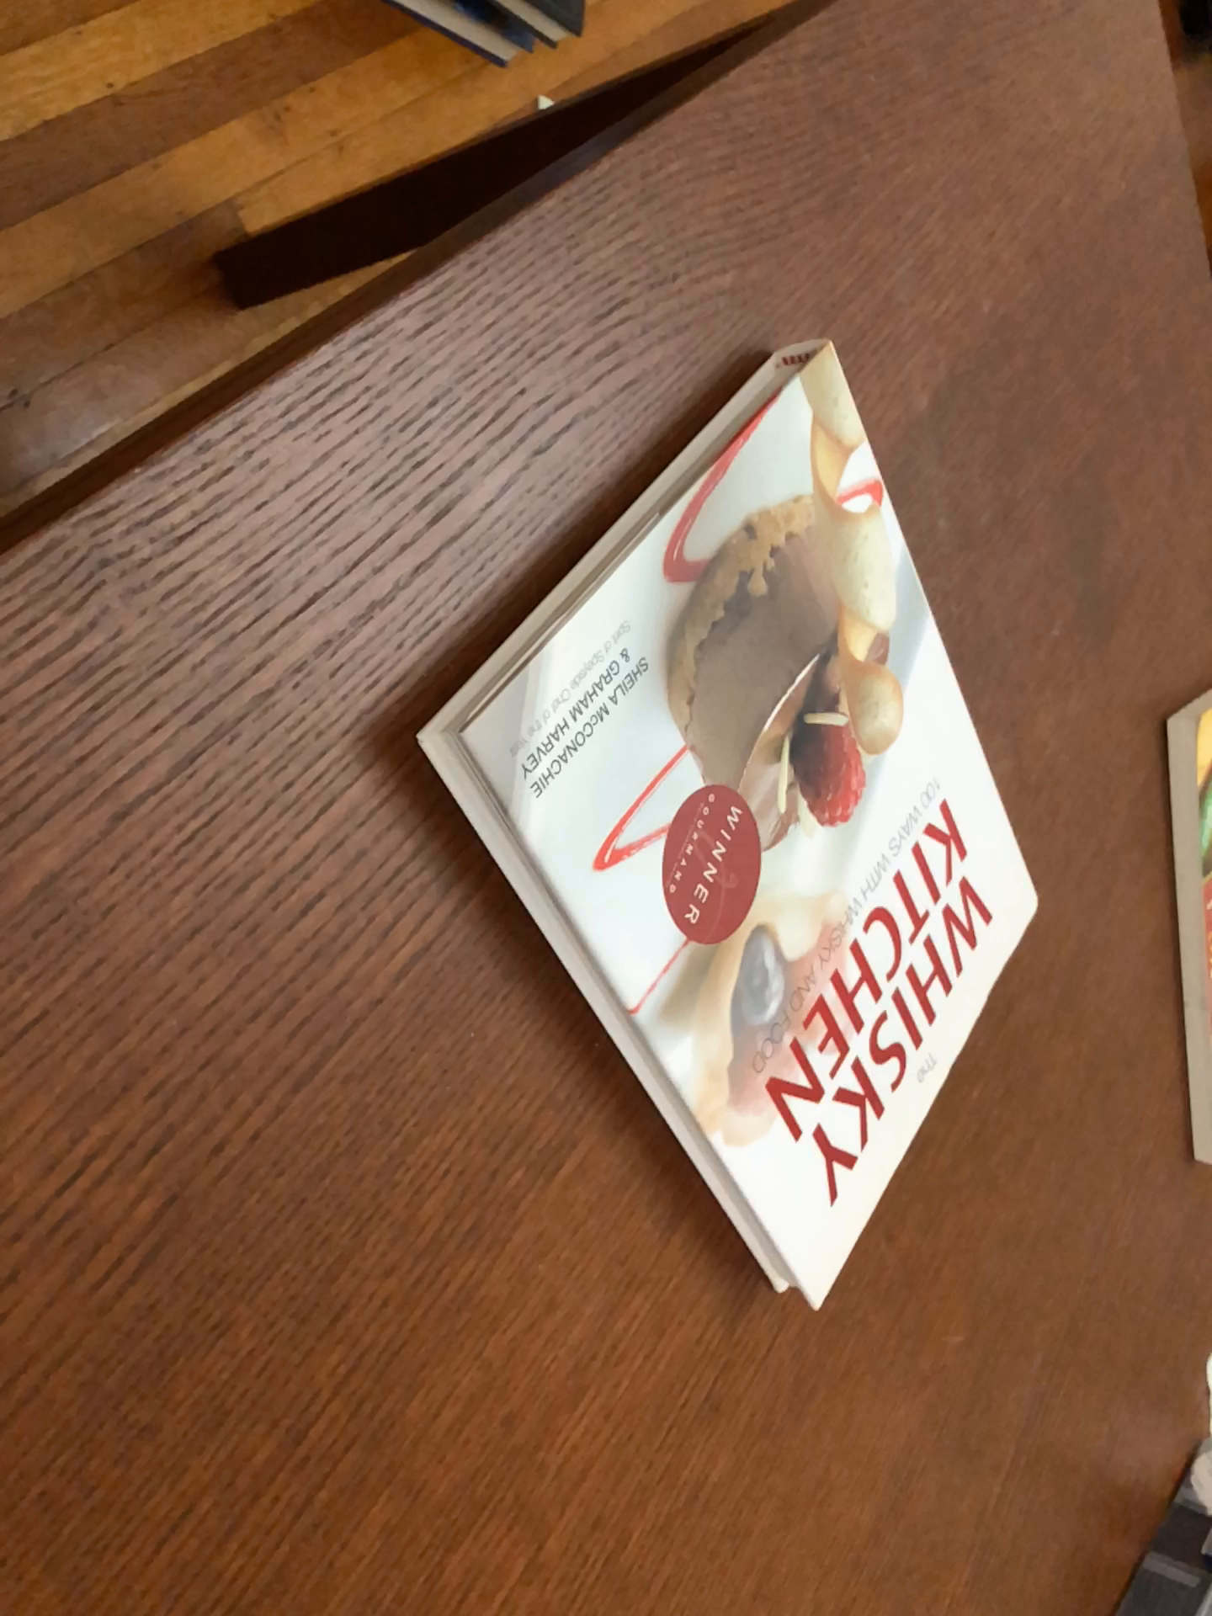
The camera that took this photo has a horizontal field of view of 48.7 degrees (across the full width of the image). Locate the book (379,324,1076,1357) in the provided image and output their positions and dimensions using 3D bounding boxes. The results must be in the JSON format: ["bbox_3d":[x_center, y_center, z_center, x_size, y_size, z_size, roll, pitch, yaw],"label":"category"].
[{"bbox_3d":[0.072,0.014,0.464,0.221,0.040,0.271,-51,127,-32],"label":"book"}]
